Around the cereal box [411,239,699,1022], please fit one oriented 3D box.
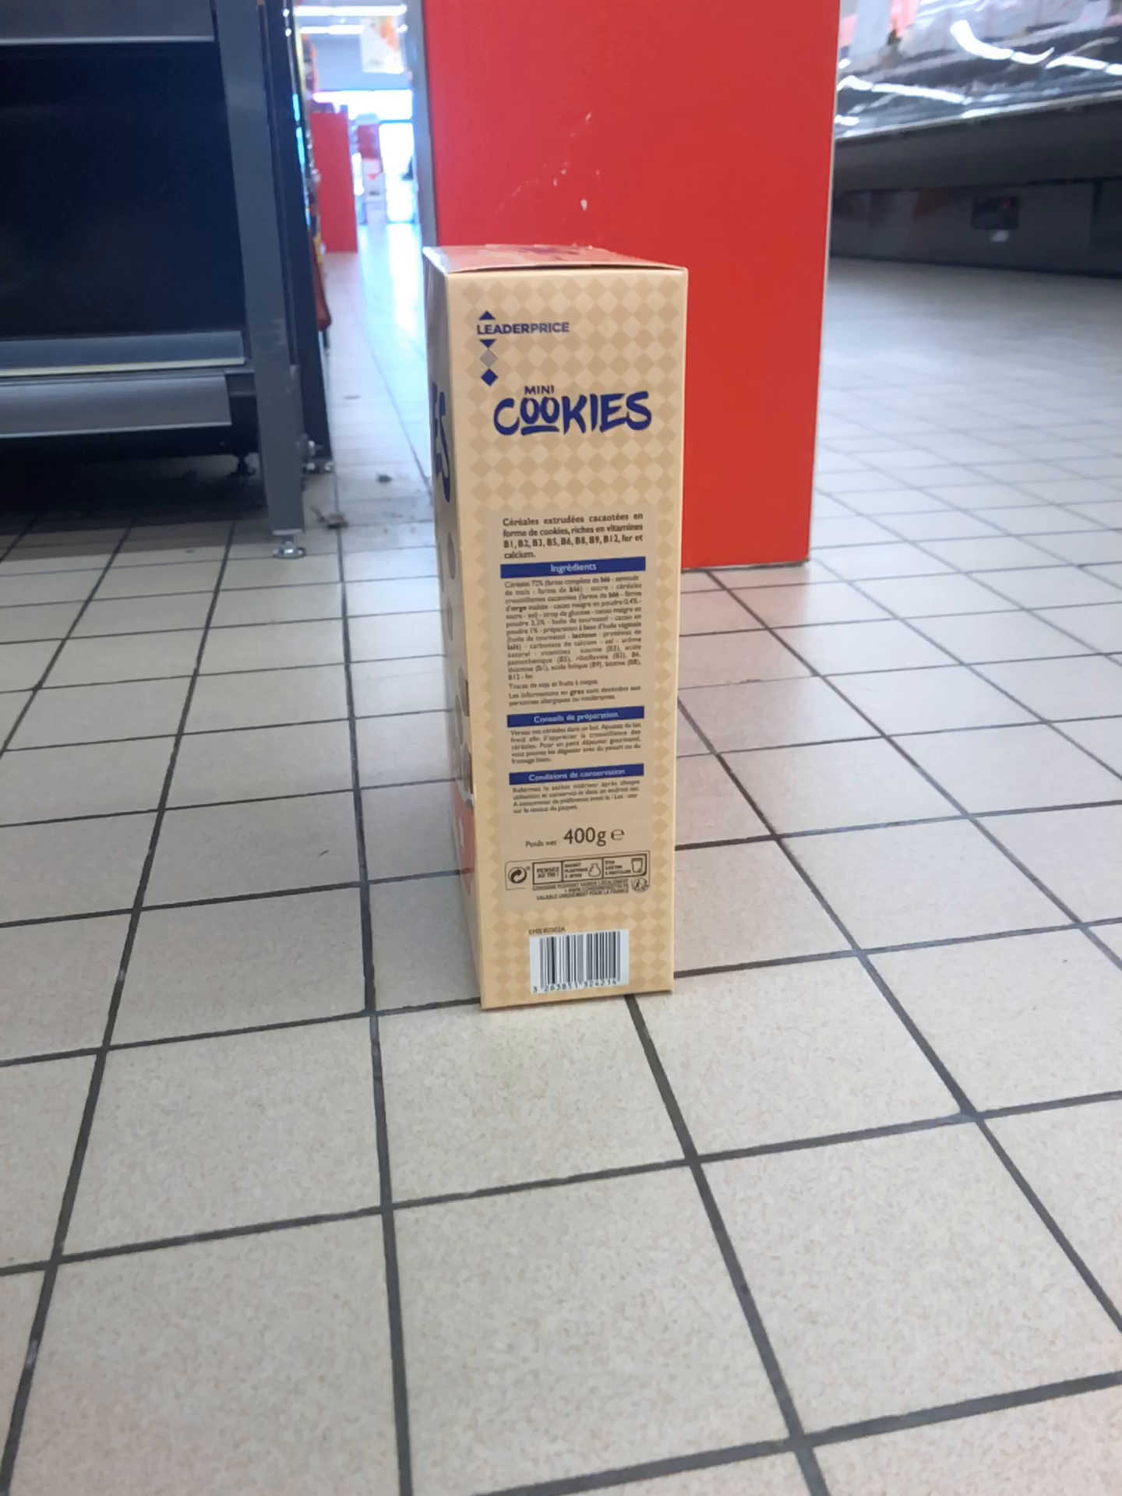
[{"bbox_3d":[-0.008,-0.064,0.523,0.080,0.279,0.201,-5,23,-8],"label":"cereal box"}]
